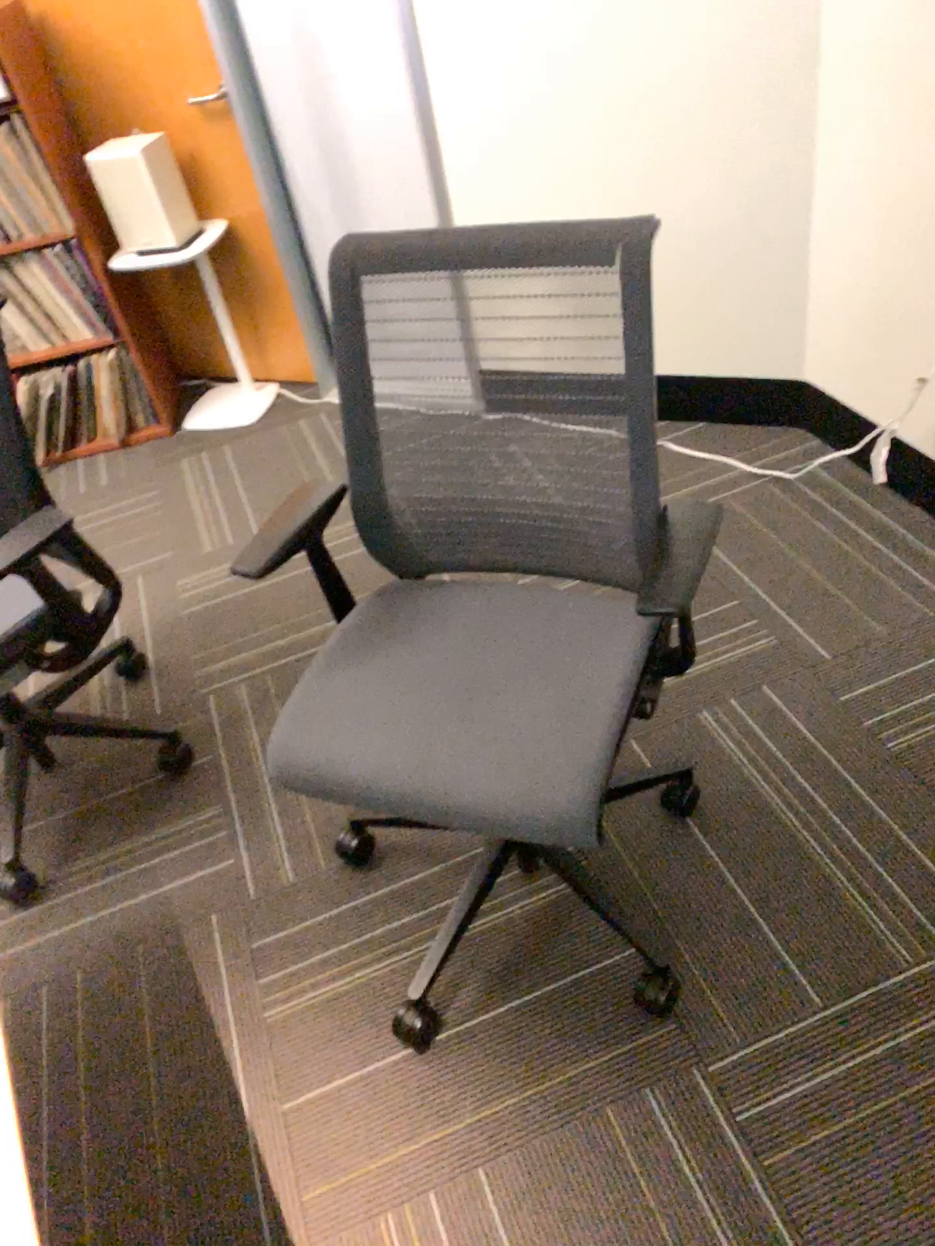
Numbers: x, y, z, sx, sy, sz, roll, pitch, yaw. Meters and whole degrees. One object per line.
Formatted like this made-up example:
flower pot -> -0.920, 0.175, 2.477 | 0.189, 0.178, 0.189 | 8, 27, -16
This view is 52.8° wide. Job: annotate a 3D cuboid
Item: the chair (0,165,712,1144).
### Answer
chair -> -0.085, 0.061, 1.441 | 0.792, 1.113, 0.803 | 4, 43, 20
